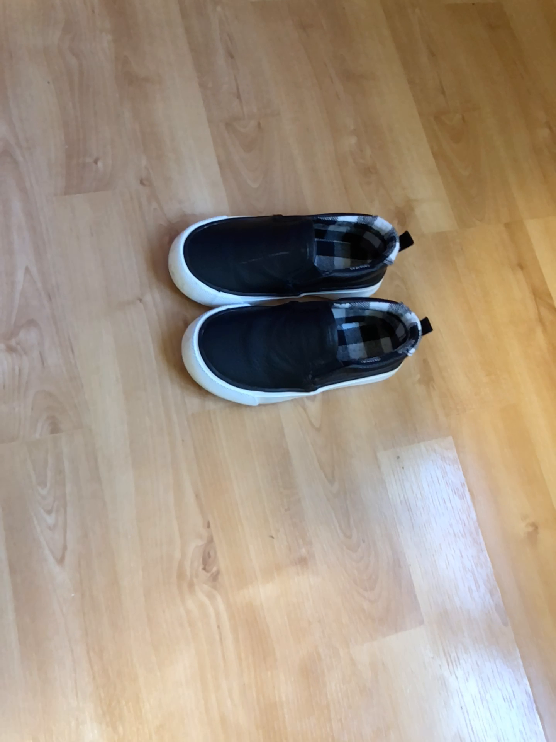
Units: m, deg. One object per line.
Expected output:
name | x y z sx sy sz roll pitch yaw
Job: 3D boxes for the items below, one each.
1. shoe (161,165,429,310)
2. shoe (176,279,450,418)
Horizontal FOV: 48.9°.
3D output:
shoe | 0.008 -0.095 0.446 0.180 0.060 0.080 -2 74 -12
shoe | 0.020 -0.015 0.436 0.180 0.060 0.080 -1 74 -11
